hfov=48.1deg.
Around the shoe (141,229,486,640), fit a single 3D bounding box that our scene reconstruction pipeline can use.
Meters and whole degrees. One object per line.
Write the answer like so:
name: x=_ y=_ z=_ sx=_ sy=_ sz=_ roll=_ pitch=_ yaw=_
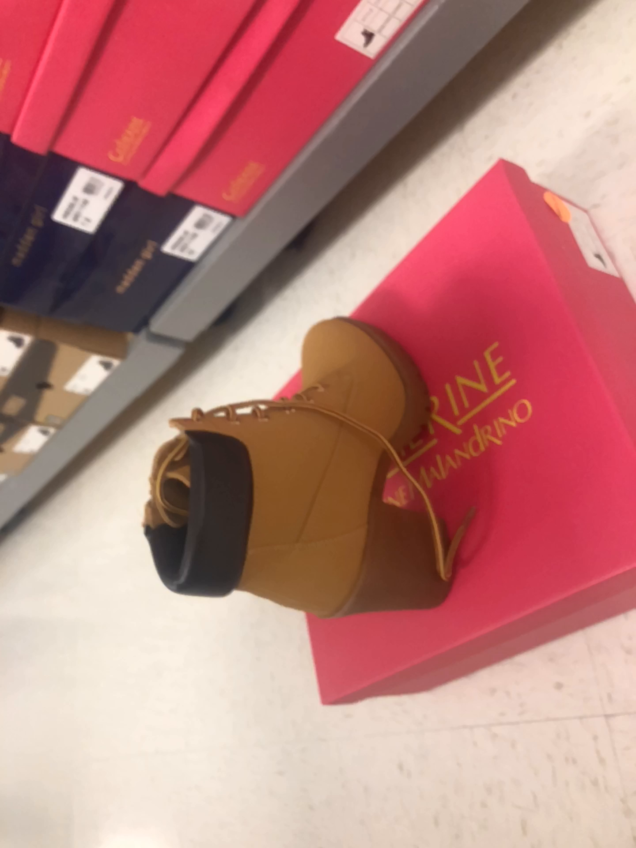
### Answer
shoe: x=-0.011 y=0.014 z=0.444 sx=0.085 sy=0.169 sz=0.217 roll=-39 pitch=50 yaw=44
